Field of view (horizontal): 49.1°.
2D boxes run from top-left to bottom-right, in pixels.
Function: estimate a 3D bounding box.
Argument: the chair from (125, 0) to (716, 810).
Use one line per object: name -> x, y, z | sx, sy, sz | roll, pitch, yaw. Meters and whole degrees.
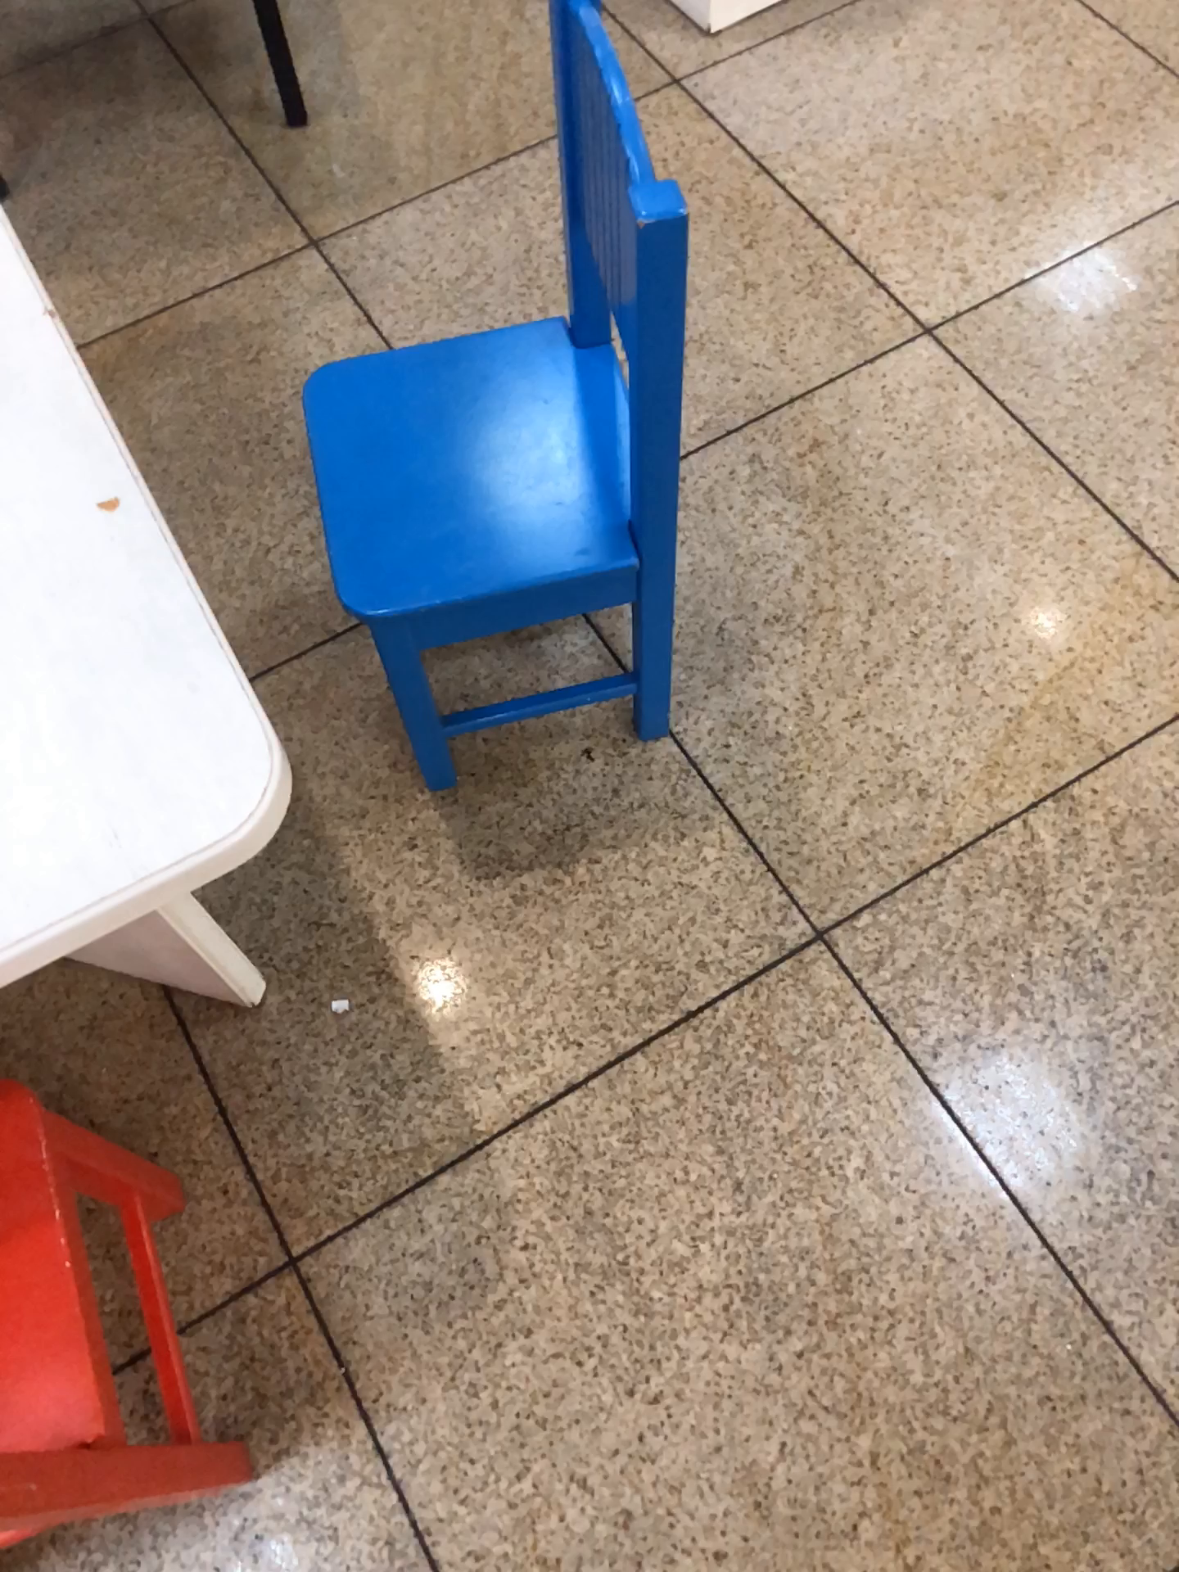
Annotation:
chair -> -0.106, -0.284, 1.103 | 0.330, 0.649, 0.290 | -13, 63, -4
